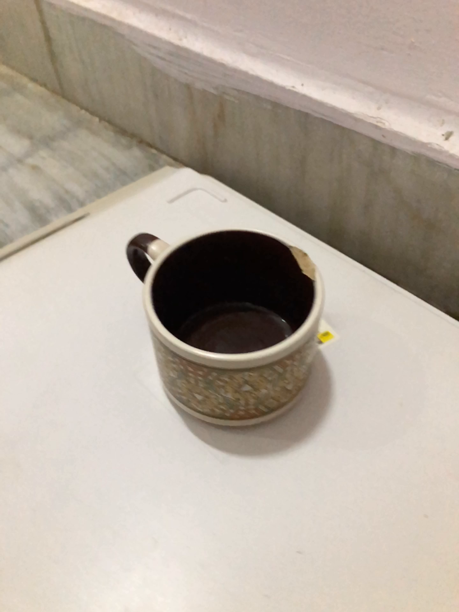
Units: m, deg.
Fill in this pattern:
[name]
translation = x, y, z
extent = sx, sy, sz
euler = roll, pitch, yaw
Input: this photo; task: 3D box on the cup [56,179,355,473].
[cup]
translation = -0.011, 0.003, 0.238
extent = 0.080, 0.060, 0.100
euler = -35, 55, -27
